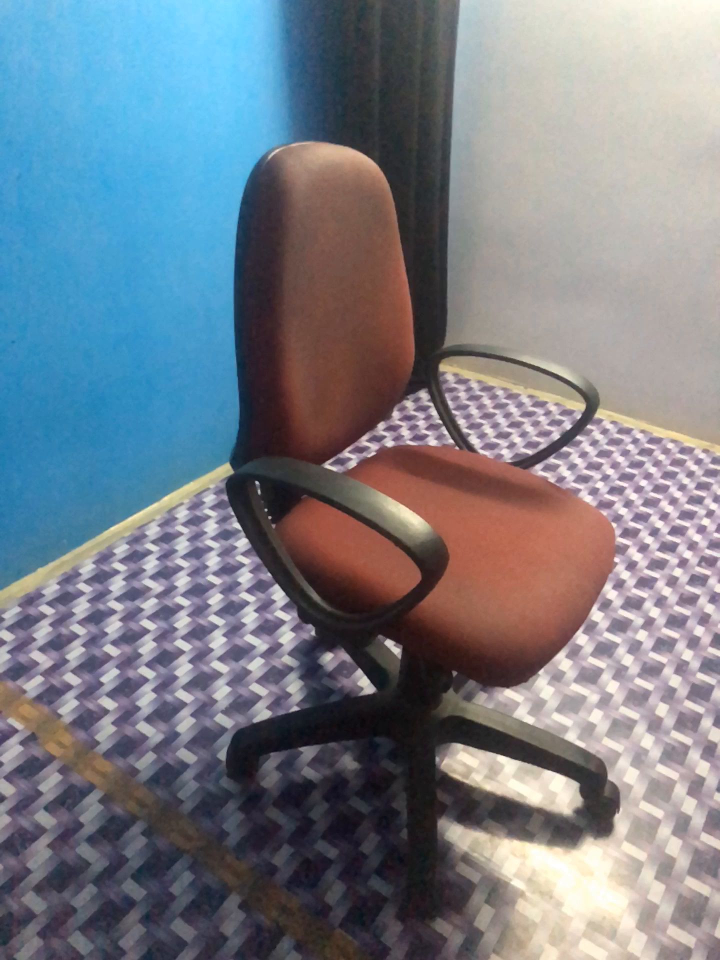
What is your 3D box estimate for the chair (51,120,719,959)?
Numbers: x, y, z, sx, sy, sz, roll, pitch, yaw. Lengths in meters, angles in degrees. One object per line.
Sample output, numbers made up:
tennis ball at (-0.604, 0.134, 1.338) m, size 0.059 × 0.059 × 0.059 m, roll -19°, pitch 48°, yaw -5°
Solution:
chair at (0.137, 0.024, 1.149) m, size 0.740 × 0.895 × 0.704 m, roll 24°, pitch 35°, yaw 30°
